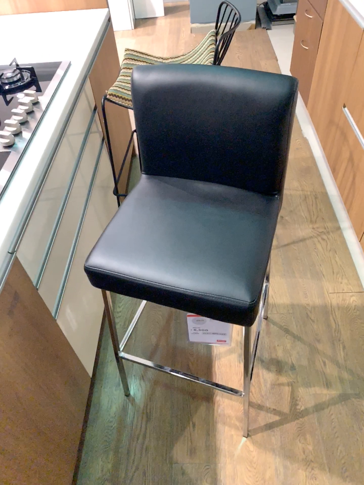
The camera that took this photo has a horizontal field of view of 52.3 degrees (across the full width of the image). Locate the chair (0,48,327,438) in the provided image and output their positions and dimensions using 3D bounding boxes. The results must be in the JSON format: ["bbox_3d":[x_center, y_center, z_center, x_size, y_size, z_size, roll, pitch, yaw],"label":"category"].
[{"bbox_3d":[0.035,0.080,1.099,0.500,1.026,0.521,11,50,15],"label":"chair"}]
